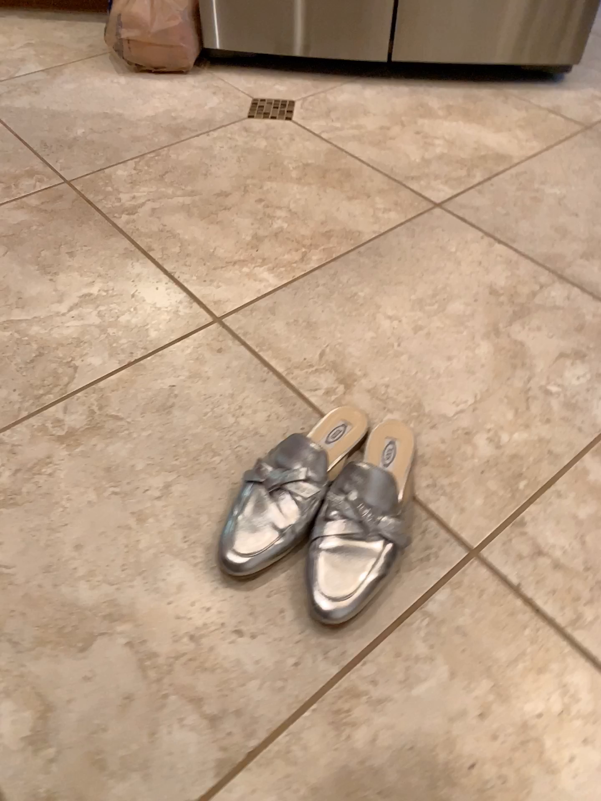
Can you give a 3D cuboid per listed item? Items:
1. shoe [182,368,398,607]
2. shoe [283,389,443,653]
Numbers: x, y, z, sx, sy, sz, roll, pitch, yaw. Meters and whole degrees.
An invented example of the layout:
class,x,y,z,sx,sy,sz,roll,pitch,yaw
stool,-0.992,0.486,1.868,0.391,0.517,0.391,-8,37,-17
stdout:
class,x,y,z,sx,sy,sz,roll,pitch,yaw
shoe,-0.003,0.090,0.730,0.102,0.077,0.278,29,55,22
shoe,0.077,0.122,0.697,0.091,0.077,0.281,17,51,13
